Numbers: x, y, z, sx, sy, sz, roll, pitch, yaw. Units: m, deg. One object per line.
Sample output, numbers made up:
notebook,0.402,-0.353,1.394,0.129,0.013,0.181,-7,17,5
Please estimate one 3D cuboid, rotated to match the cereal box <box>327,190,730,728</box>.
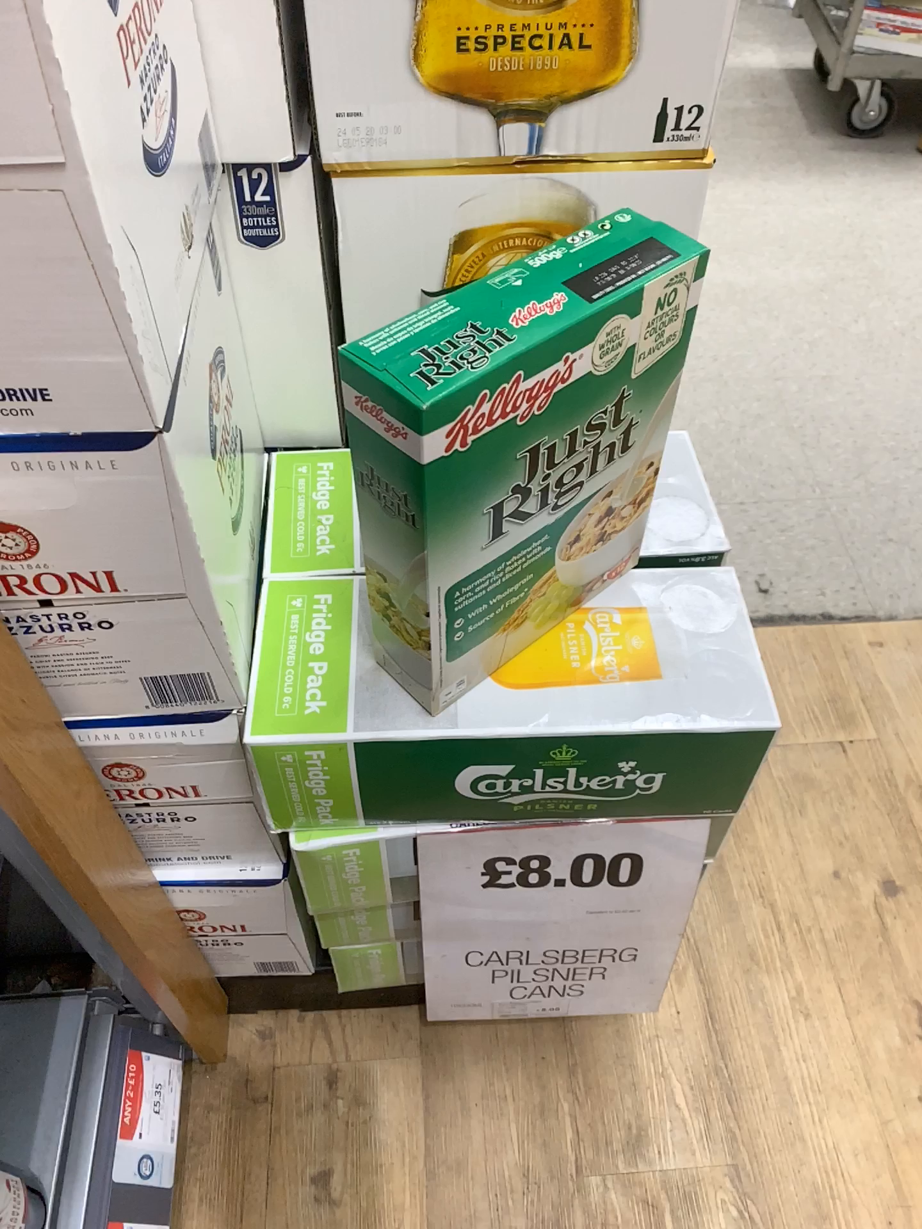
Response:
cereal box,0.035,-0.076,0.526,0.191,0.238,0.070,-35,60,-25
